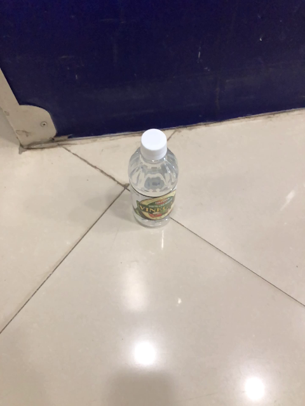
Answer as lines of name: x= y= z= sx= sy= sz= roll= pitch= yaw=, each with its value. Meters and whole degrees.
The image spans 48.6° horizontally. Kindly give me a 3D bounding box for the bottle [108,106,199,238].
bottle: x=-0.001 y=-0.029 z=0.452 sx=0.080 sy=0.189 sz=0.070 roll=-16 pitch=65 yaw=-8
